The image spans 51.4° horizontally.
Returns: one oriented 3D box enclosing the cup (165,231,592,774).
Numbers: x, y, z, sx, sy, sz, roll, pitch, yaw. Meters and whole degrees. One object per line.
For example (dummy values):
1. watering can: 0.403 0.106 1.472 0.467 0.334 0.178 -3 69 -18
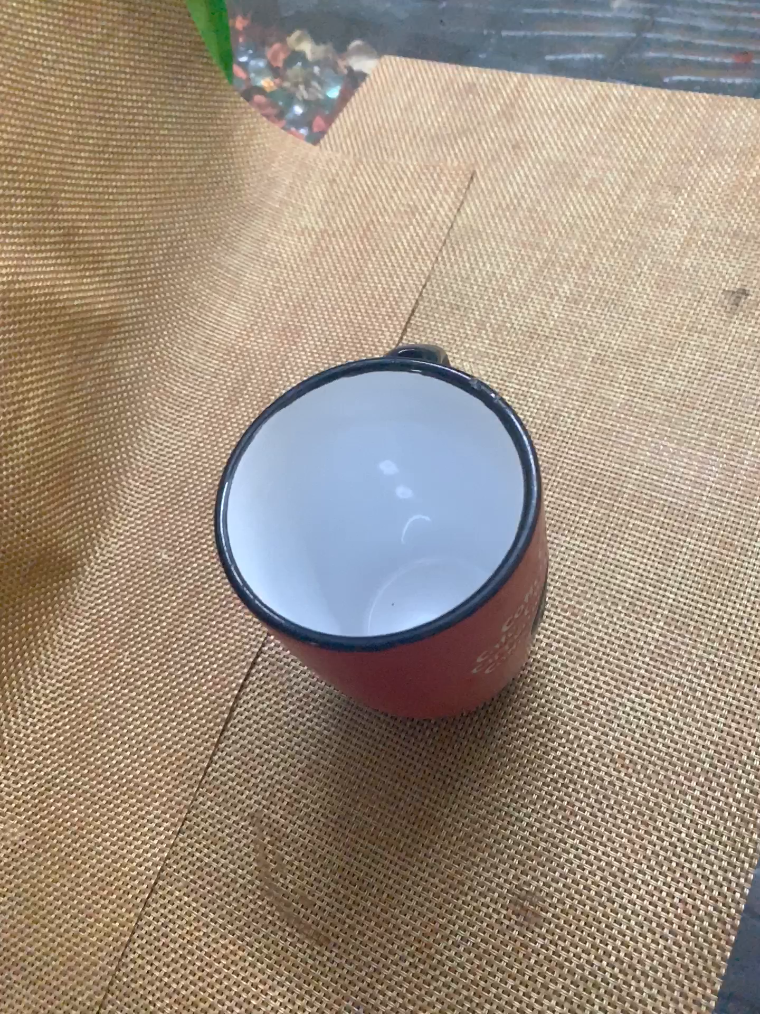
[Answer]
1. cup: 0.008 0.007 0.234 0.090 0.100 0.121 -6 61 11
